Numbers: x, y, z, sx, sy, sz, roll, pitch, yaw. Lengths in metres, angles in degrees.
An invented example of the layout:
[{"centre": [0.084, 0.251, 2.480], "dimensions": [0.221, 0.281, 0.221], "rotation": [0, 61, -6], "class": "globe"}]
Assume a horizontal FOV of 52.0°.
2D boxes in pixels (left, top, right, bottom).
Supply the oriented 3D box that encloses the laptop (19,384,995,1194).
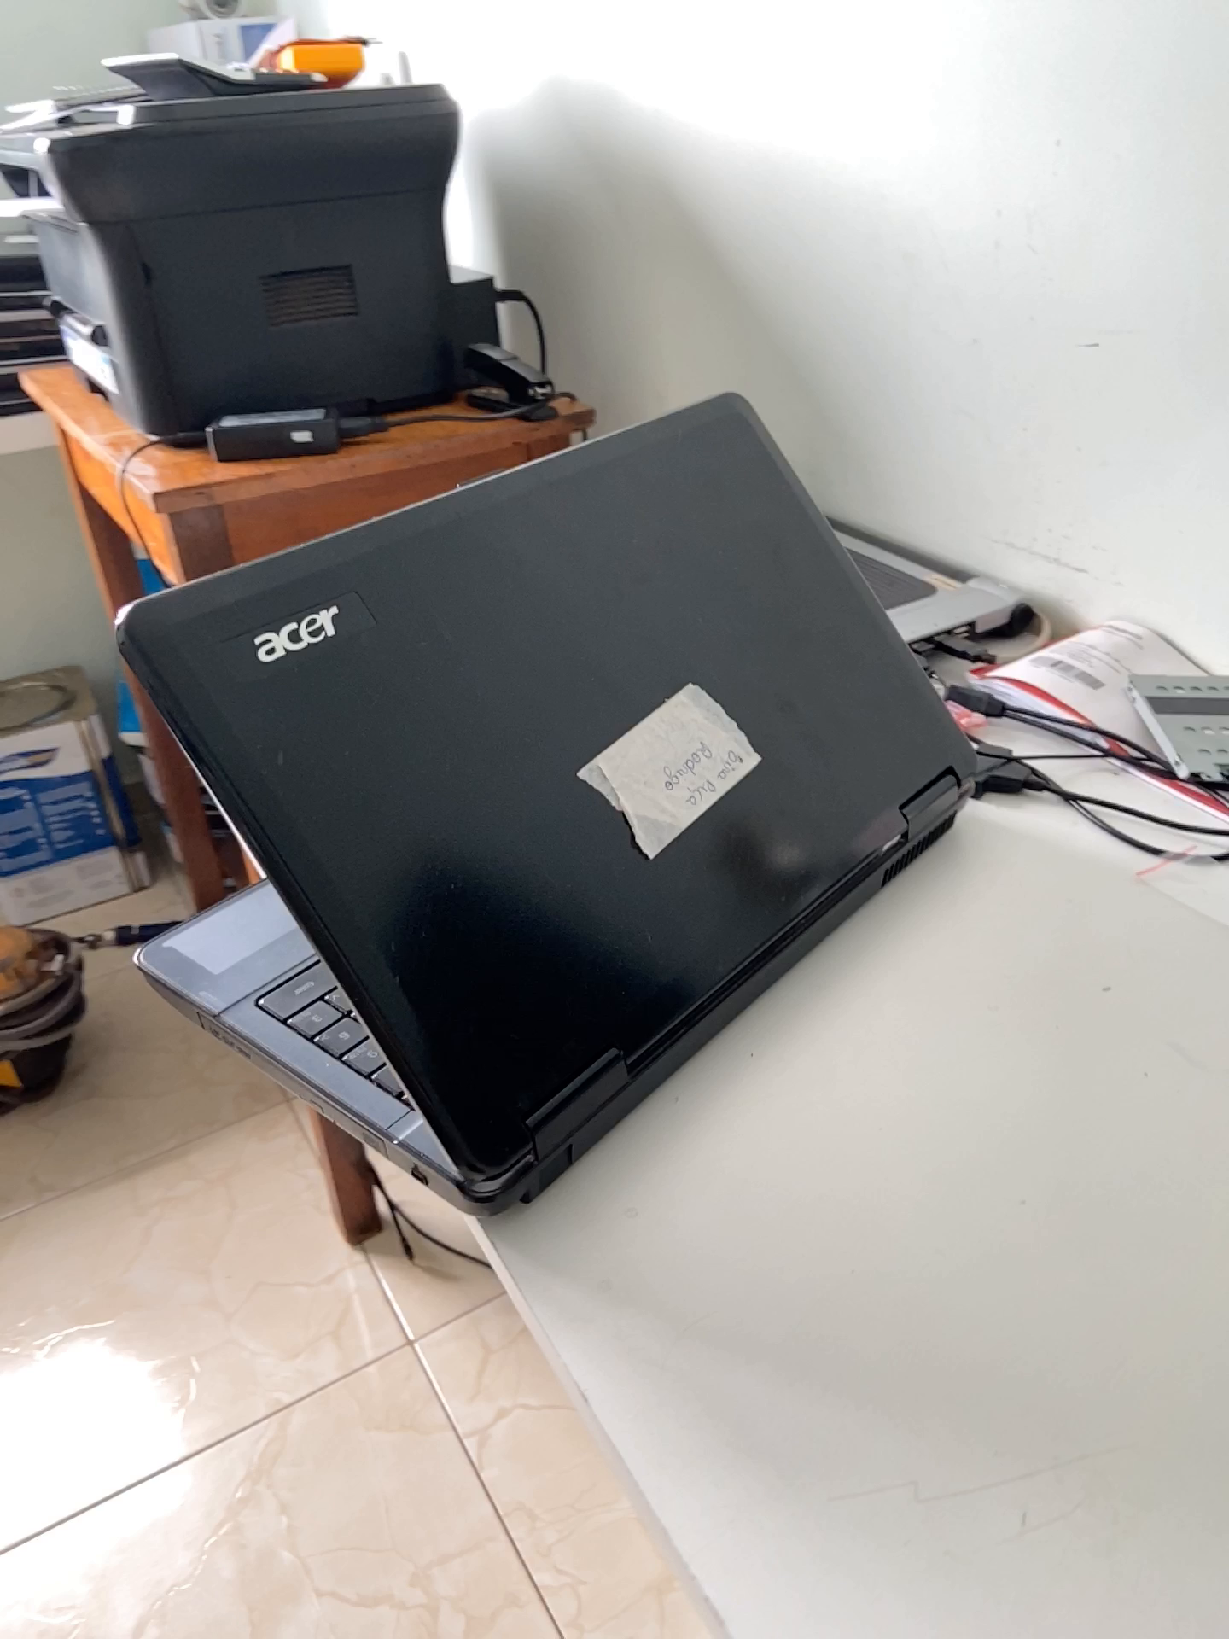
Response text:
[{"centre": [-0.023, -0.059, 0.589], "dimensions": [0.233, 0.183, 0.367], "rotation": [21, 40, 37], "class": "laptop"}]
